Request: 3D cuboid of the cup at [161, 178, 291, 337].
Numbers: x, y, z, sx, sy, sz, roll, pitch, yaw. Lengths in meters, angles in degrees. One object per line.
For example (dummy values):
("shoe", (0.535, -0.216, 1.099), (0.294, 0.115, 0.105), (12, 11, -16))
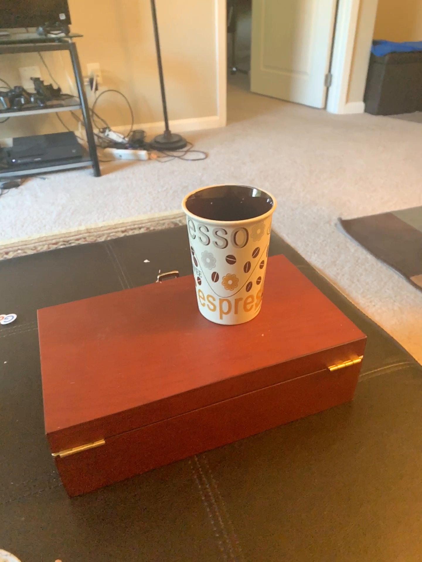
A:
("cup", (0.018, -0.026, 0.420), (0.090, 0.109, 0.090), (-2, 34, 1))
